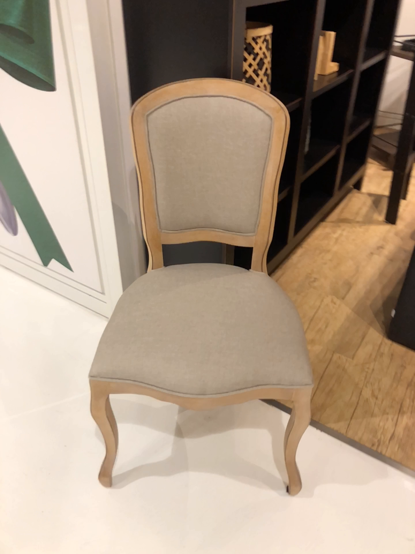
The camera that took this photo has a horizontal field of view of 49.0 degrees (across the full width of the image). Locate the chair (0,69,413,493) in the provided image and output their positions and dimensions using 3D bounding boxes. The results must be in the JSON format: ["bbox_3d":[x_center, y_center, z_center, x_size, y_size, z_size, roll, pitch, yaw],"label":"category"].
[{"bbox_3d":[-0.002,0.020,1.131,0.600,0.873,0.554,2,35,1],"label":"chair"}]
